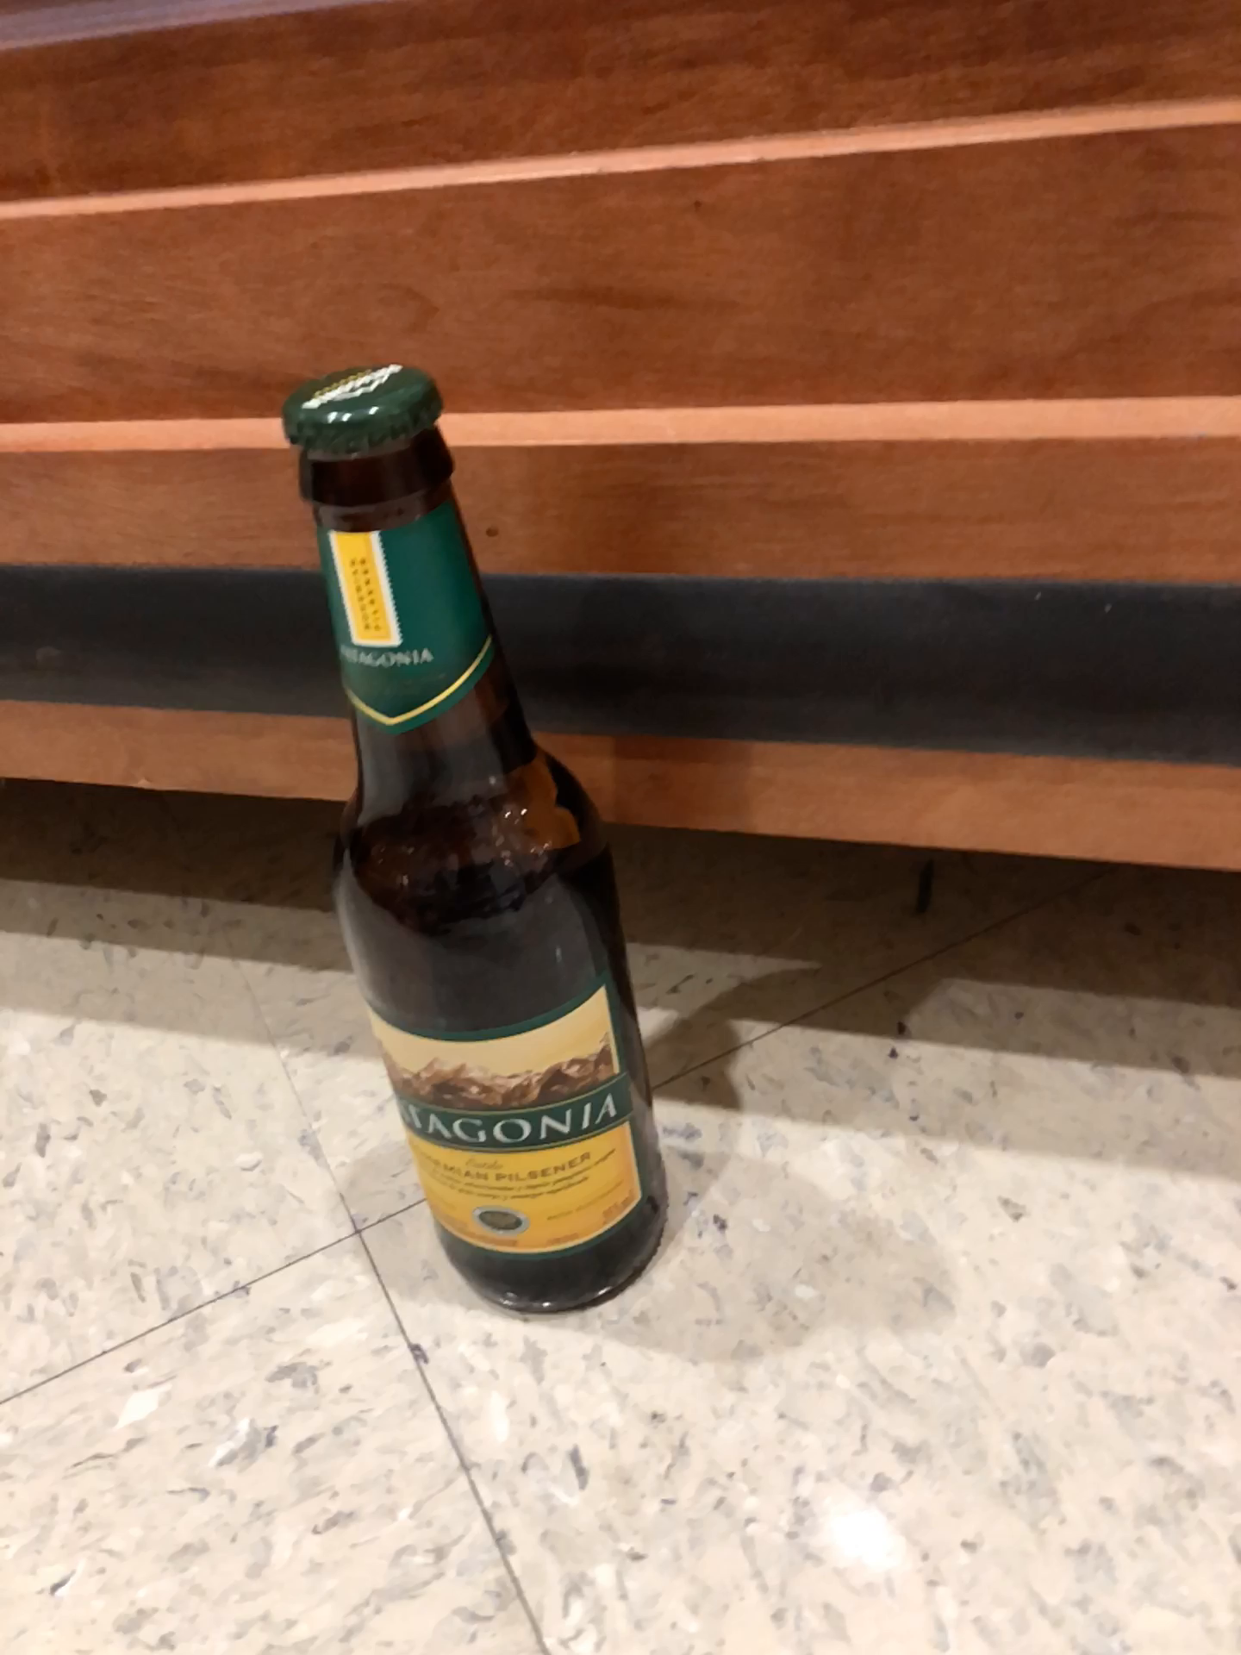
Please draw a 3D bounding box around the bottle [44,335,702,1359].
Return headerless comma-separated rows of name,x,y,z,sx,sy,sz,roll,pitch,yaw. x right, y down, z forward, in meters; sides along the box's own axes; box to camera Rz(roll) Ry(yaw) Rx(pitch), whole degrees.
bottle,-0.035,0.016,0.294,0.070,0.218,0.060,5,38,19
